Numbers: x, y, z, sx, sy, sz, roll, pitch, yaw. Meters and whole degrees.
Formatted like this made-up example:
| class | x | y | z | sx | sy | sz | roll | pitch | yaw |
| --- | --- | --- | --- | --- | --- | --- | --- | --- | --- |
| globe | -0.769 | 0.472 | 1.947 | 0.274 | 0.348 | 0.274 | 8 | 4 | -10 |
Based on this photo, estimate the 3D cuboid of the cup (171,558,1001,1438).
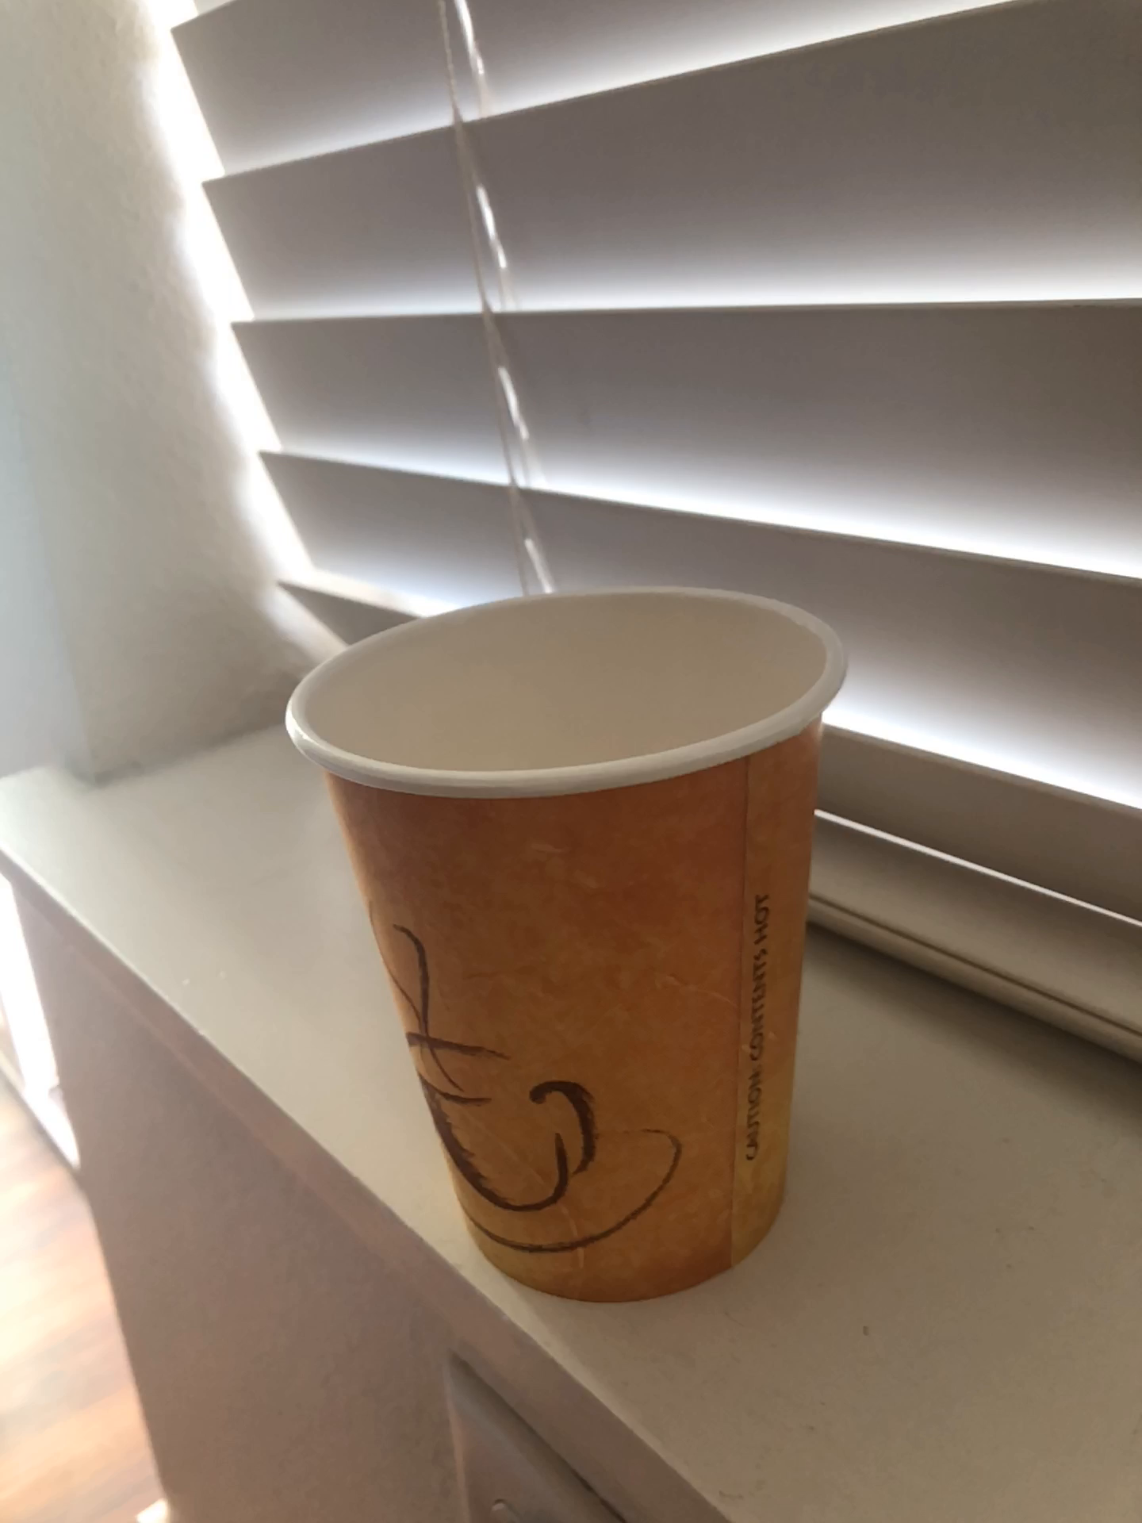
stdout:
| class | x | y | z | sx | sy | sz | roll | pitch | yaw |
| --- | --- | --- | --- | --- | --- | --- | --- | --- | --- |
| cup | 0.002 | 0.025 | 0.220 | 0.094 | 0.088 | 0.095 | -5 | 23 | 2 |
